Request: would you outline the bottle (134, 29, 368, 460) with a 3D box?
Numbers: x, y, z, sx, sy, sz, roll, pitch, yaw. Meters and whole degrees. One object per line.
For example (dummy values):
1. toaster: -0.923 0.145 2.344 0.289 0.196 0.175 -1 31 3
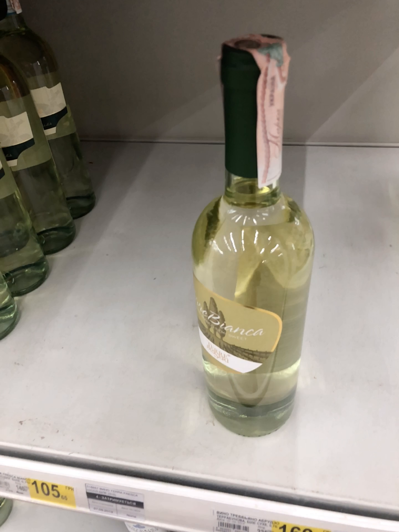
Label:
1. bottle: 0.031 0.013 0.274 0.070 0.269 0.070 -3 43 3
